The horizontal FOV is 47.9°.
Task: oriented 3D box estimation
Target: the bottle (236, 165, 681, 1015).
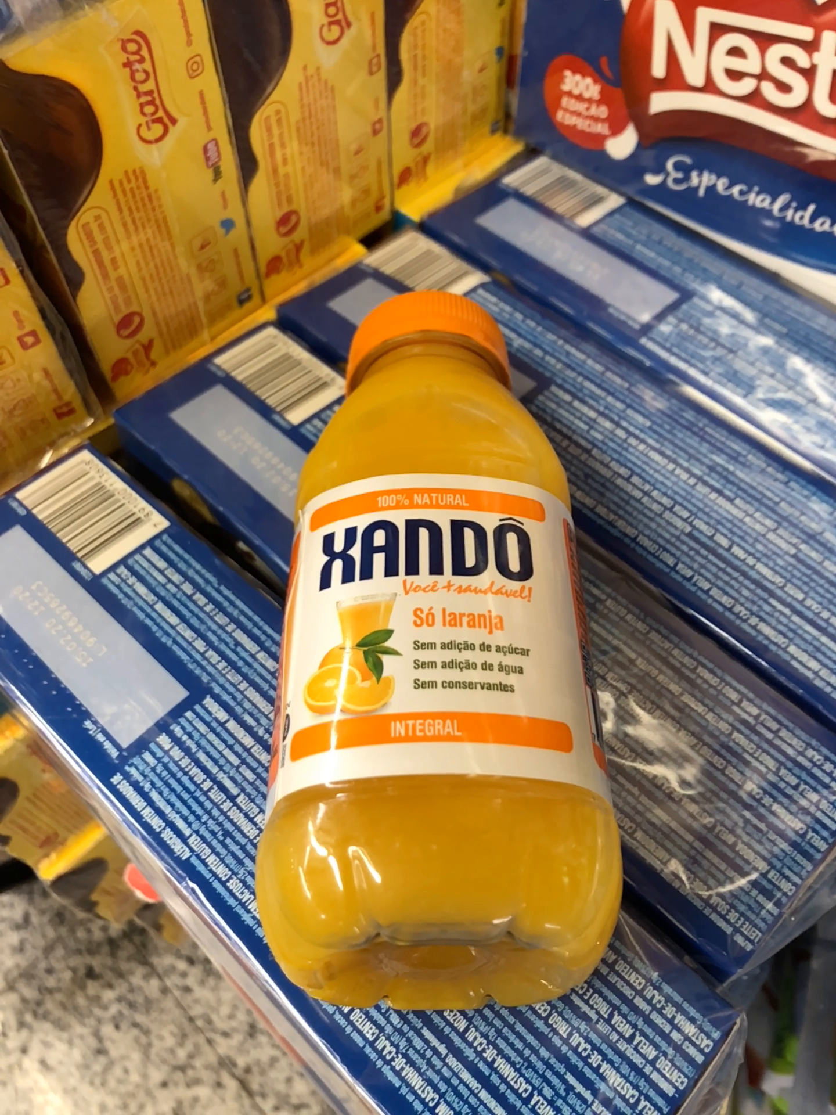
[{"bbox_3d":[0.004,0.000,0.208,0.060,0.080,0.171,-1,56,-1],"label":"bottle"}]
